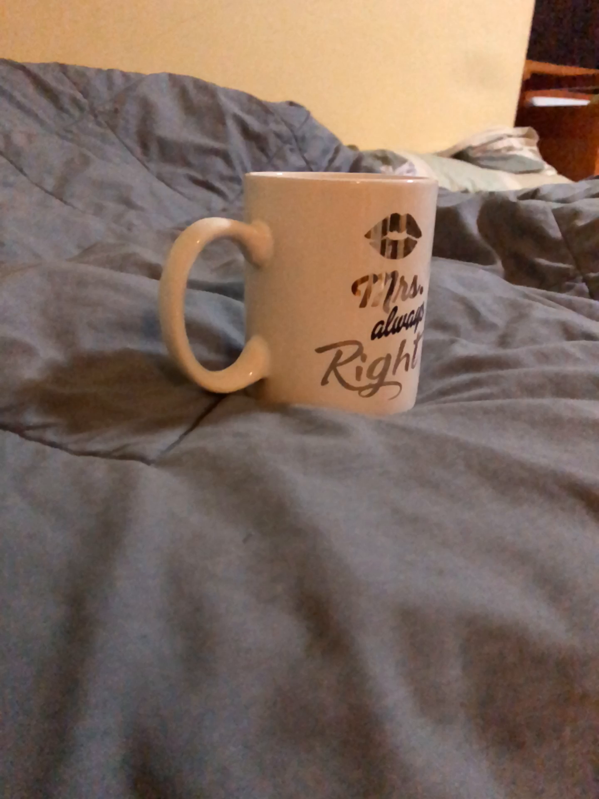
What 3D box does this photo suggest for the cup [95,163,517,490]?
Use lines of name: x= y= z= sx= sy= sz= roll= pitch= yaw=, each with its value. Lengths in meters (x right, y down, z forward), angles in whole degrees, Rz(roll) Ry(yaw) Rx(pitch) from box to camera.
cup: x=0.000 y=-0.048 z=0.312 sx=0.150 sy=0.110 sz=0.110 roll=-11 pitch=25 yaw=-33
